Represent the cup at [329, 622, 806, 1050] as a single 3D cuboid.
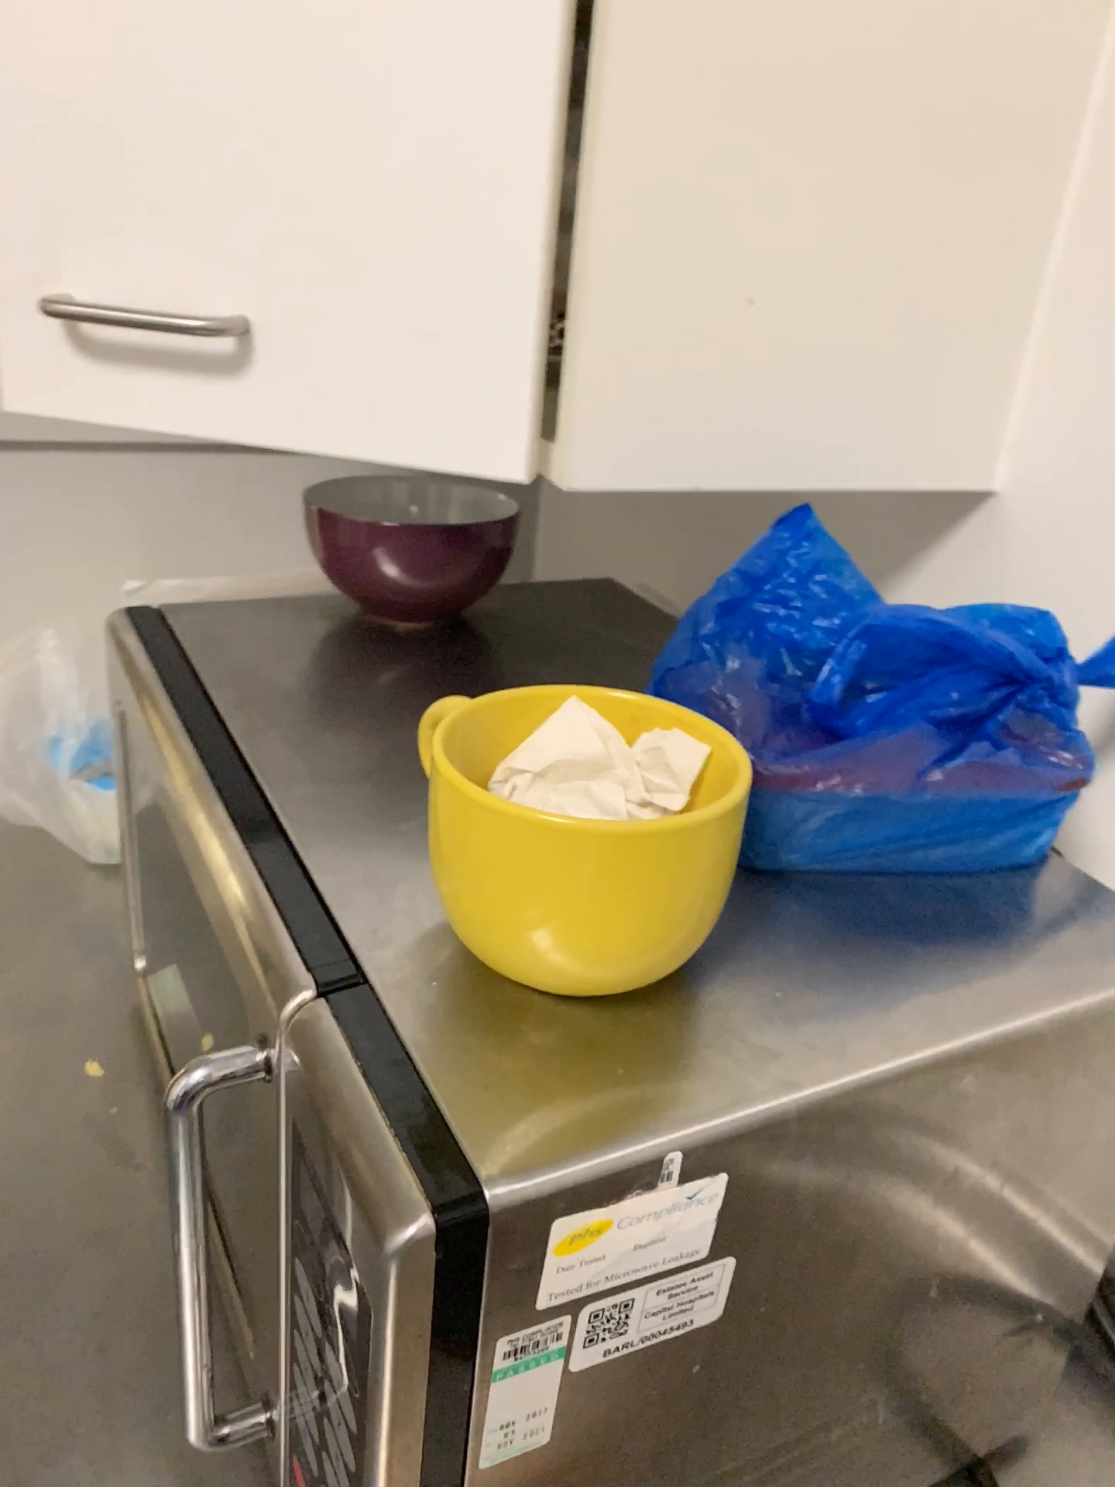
[{"bbox_3d":[-0.007,0.022,0.440,0.116,0.082,0.155,-7,27,-27],"label":"cup"}]
